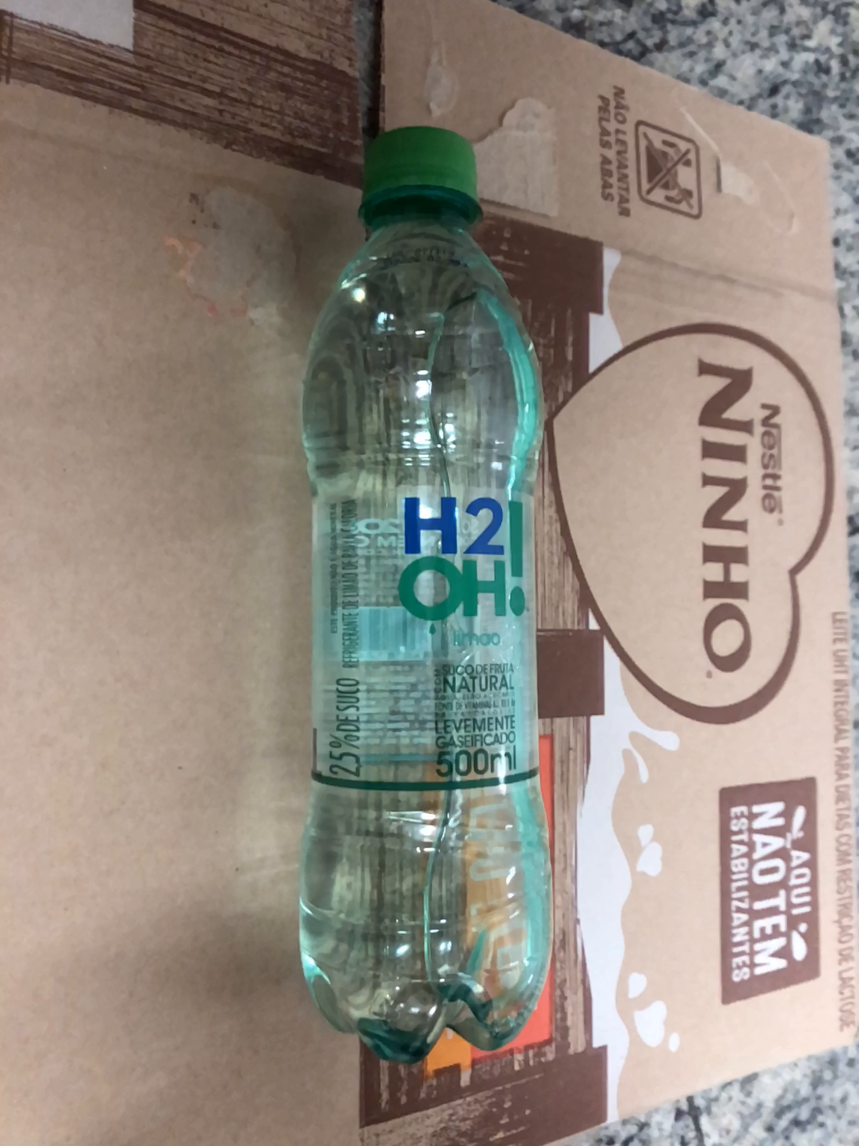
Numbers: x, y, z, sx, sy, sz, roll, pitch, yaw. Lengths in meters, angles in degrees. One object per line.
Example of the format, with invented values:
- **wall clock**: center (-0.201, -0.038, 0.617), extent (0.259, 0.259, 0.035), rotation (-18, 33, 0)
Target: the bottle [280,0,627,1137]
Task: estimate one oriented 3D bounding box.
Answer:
- **bottle**: center (0.005, -0.006, 0.248), extent (0.070, 0.050, 0.250), rotation (3, 85, -35)
